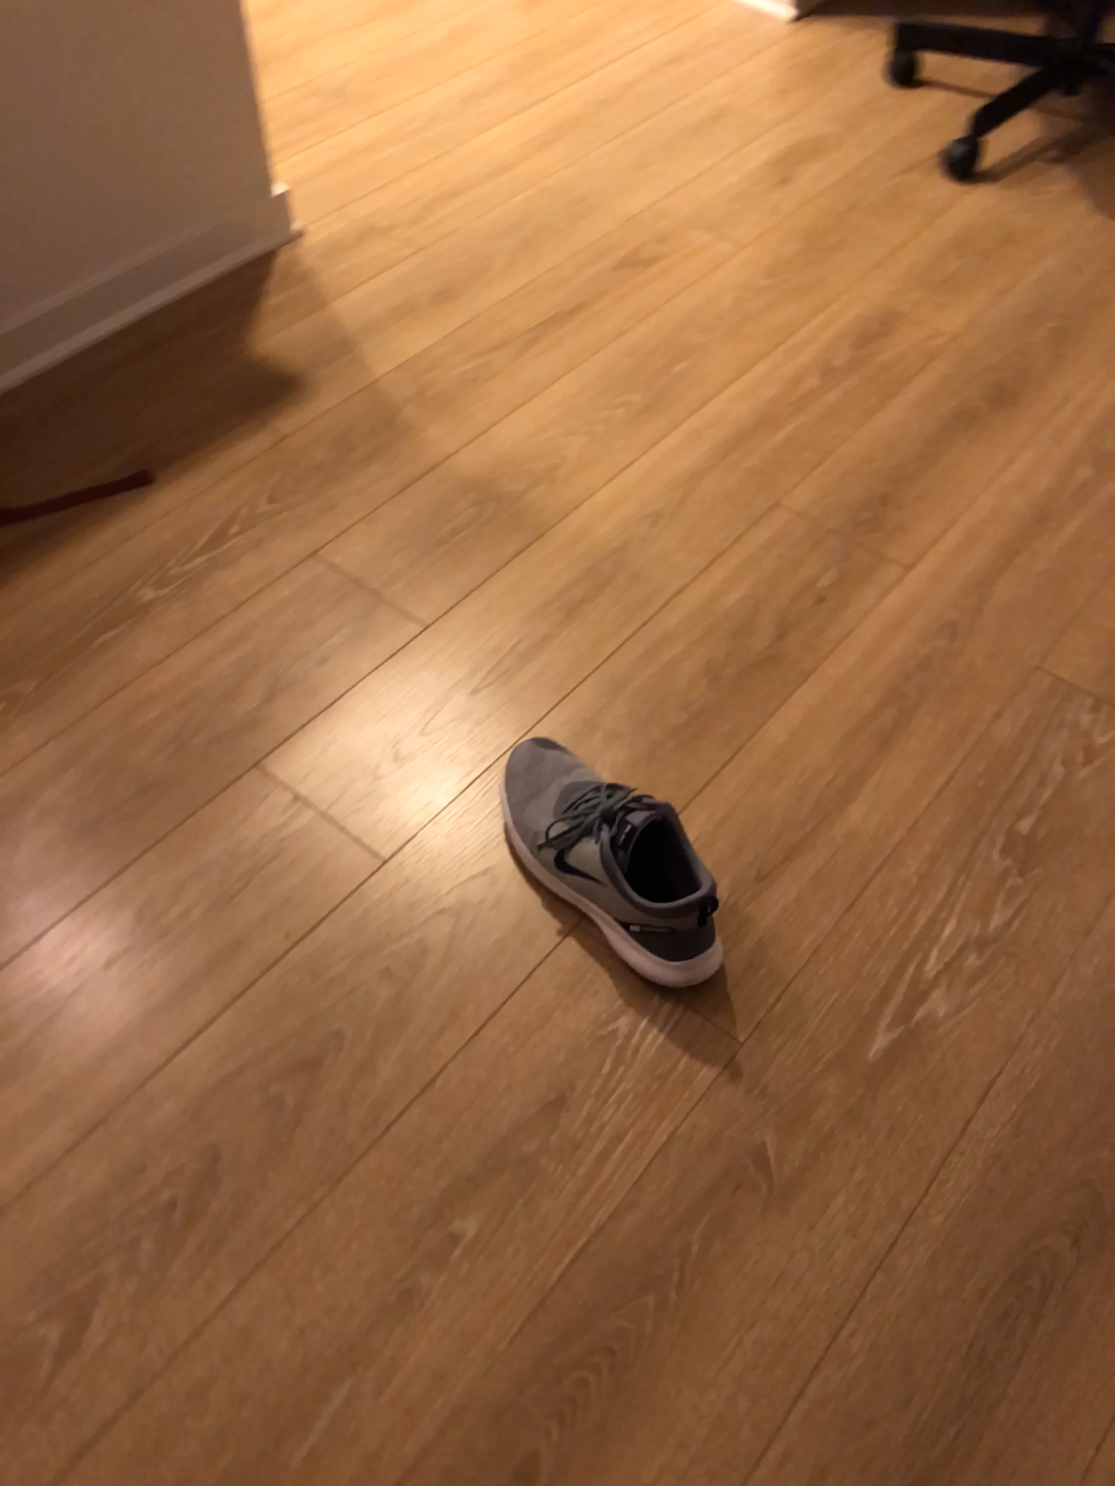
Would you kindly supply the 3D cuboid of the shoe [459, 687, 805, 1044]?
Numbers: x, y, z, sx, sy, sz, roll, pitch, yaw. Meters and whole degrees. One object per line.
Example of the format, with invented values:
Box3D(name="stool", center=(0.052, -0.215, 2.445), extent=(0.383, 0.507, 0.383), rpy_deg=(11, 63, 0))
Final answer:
Box3D(name="shoe", center=(0.059, 0.103, 1.138), extent=(0.140, 0.080, 0.321), rpy_deg=(-30, 57, -23))
